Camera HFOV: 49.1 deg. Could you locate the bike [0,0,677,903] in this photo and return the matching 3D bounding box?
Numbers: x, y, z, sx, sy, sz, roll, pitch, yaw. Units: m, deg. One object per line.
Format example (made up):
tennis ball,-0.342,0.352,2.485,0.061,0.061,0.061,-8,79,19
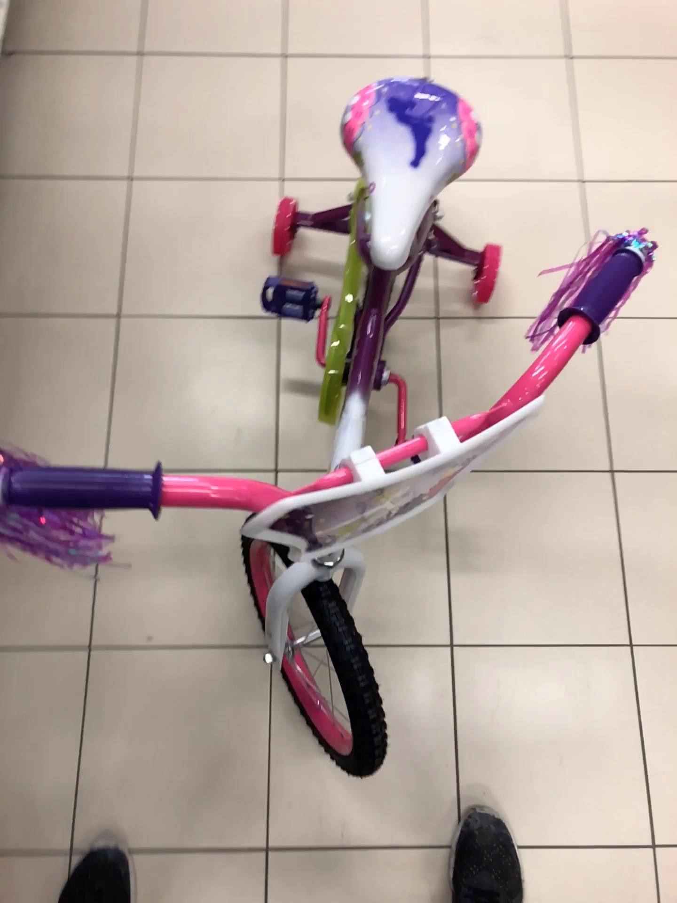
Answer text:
bike,0.071,-0.140,0.923,0.595,0.813,1.067,5,74,0
